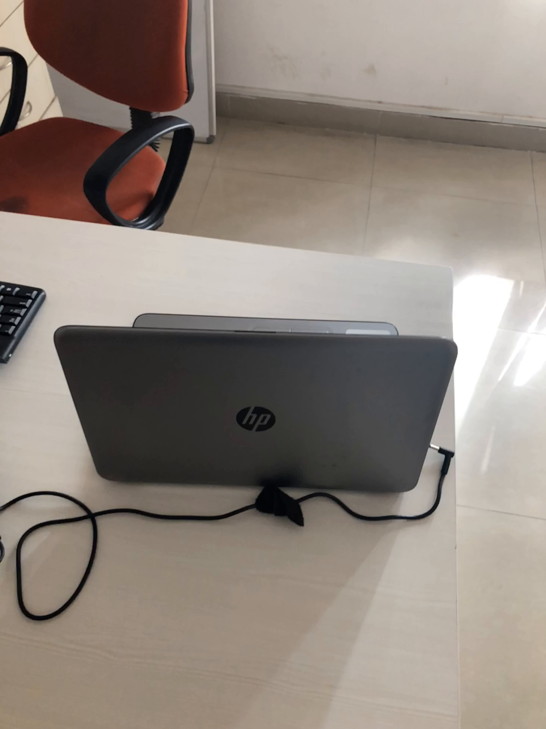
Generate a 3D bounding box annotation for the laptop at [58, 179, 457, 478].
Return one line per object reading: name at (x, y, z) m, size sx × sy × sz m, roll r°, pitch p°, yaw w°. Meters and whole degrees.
laptop at (-0.013, -0.033, 0.674) m, size 0.350 × 0.227 × 0.216 m, roll 3°, pitch 57°, yaw 2°
